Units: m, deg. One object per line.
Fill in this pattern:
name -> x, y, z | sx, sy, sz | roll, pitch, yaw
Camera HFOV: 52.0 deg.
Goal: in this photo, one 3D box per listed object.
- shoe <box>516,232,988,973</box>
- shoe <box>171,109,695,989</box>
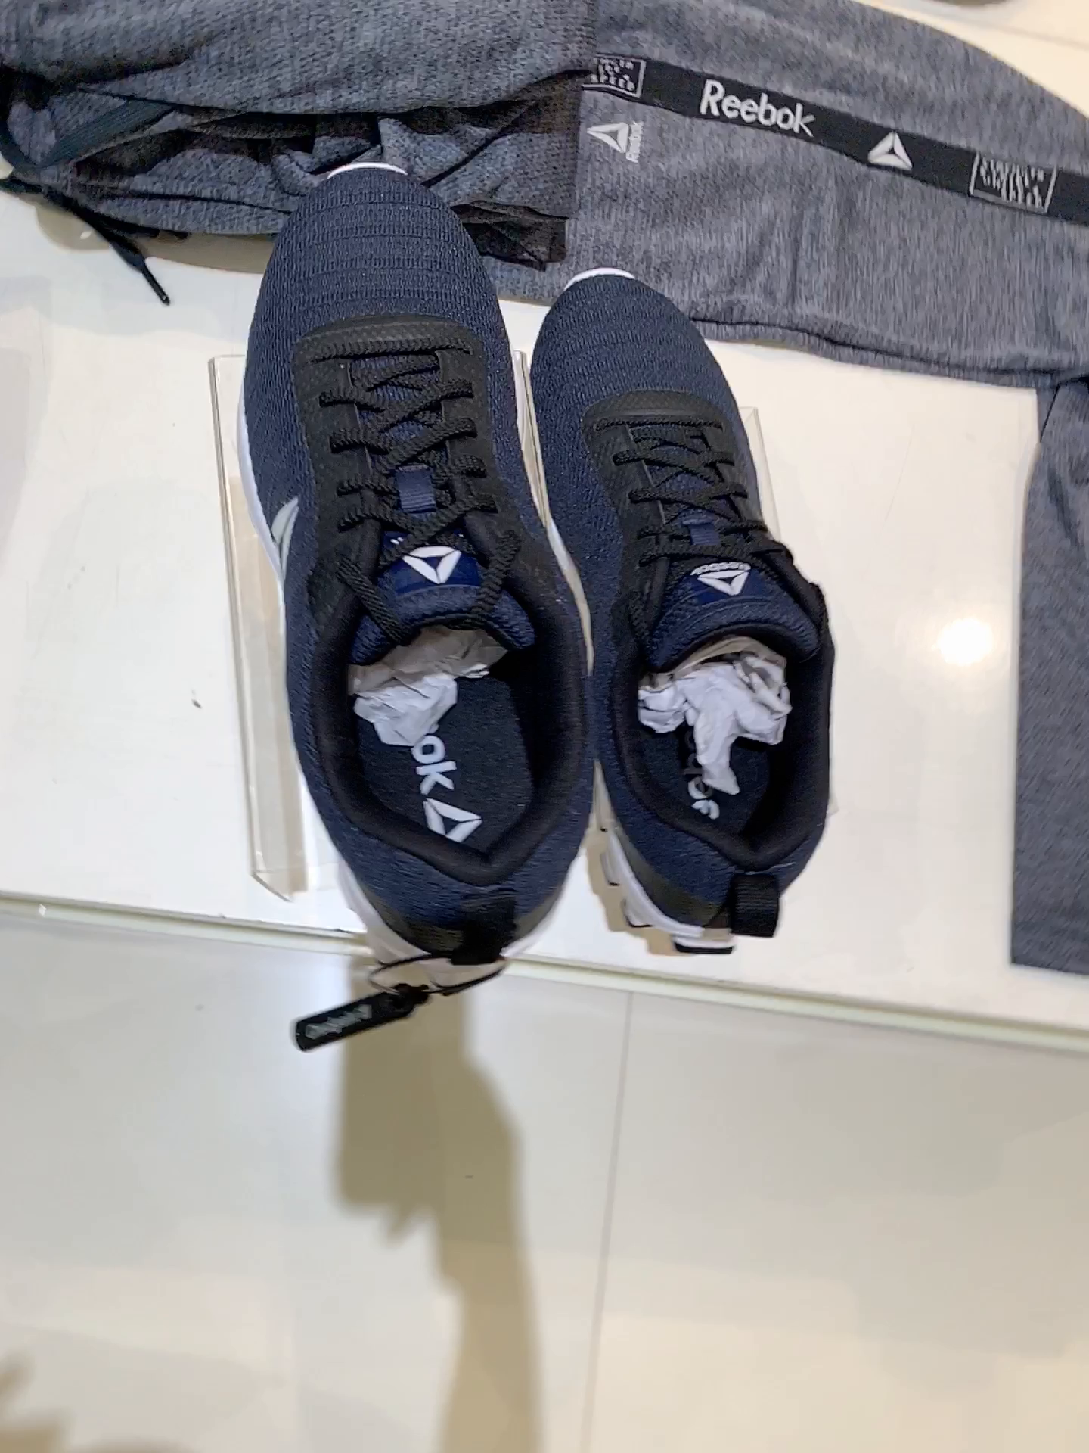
shoe -> 0.062, -0.062, 0.442 | 0.100, 0.080, 0.291 | -6, 63, -9
shoe -> -0.044, -0.062, 0.388 | 0.120, 0.080, 0.280 | -9, 78, -10
